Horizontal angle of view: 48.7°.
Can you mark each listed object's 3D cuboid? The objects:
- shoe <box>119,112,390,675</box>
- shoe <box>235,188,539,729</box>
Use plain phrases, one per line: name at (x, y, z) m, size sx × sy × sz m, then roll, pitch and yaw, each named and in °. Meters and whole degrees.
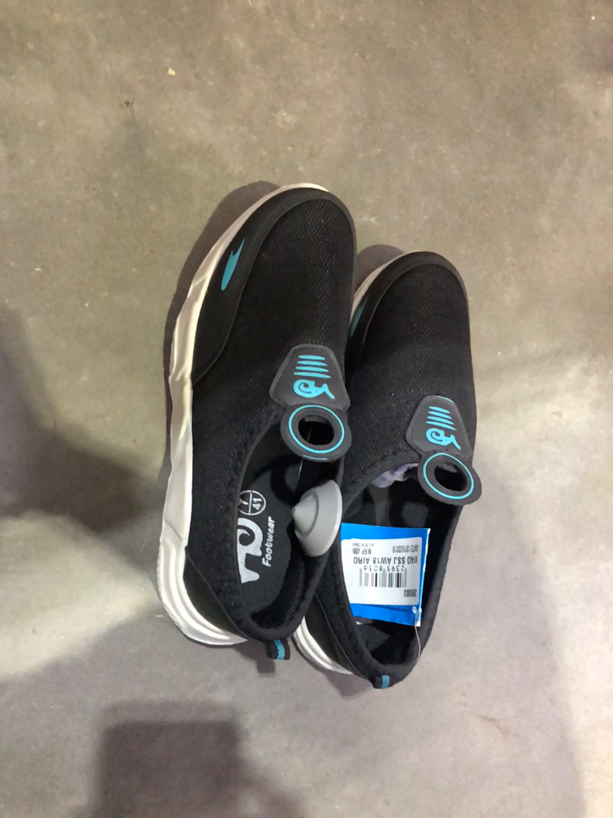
shoe at (-0.034, -0.005, 0.421) m, size 0.110 × 0.100 × 0.300 m, roll 9°, pitch 82°, yaw -20°
shoe at (0.052, 0.030, 0.444) m, size 0.110 × 0.100 × 0.300 m, roll 15°, pitch 80°, yaw -19°
